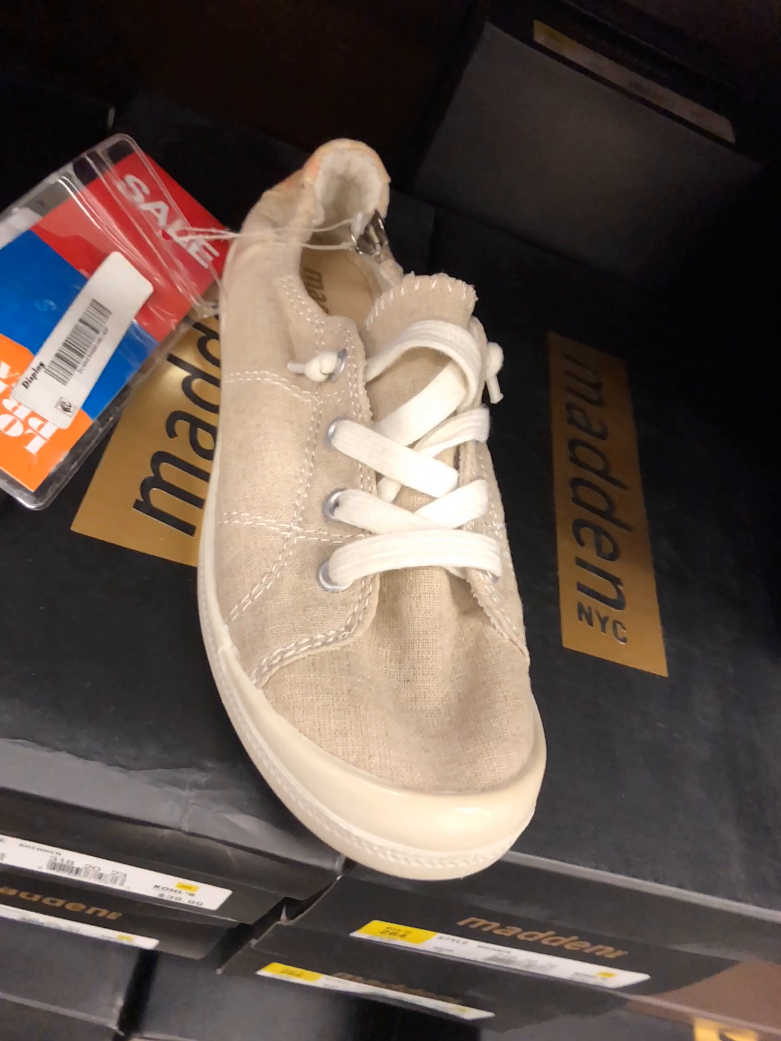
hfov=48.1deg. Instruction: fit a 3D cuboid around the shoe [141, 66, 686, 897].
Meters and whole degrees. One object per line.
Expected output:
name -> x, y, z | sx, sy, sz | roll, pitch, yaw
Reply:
shoe -> -0.014, -0.022, 0.235 | 0.090, 0.070, 0.210 | 6, 51, -23
